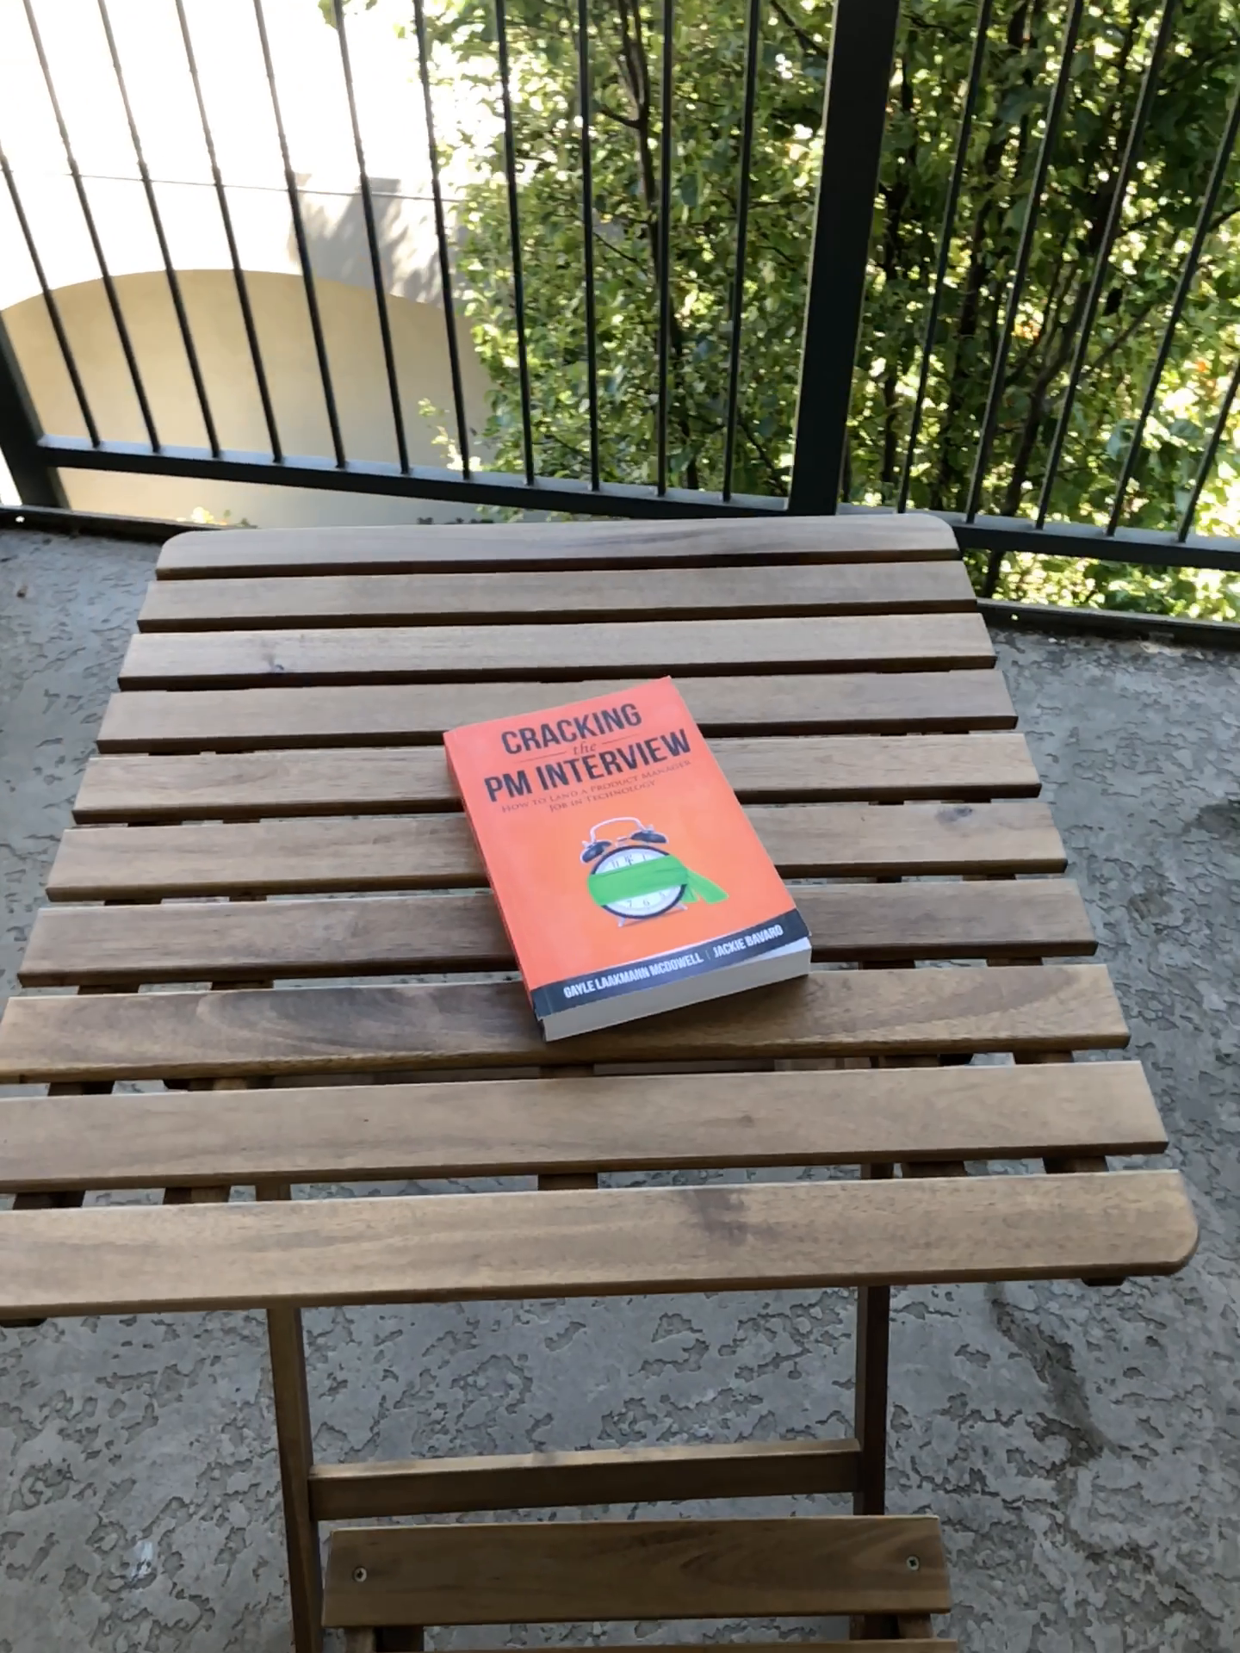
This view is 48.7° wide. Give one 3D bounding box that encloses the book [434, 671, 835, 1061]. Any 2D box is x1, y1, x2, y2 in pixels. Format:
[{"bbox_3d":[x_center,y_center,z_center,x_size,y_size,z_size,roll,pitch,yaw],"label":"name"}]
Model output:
[{"bbox_3d":[0.000,0.012,0.808,0.170,0.040,0.231,-13,48,-12],"label":"book"}]
